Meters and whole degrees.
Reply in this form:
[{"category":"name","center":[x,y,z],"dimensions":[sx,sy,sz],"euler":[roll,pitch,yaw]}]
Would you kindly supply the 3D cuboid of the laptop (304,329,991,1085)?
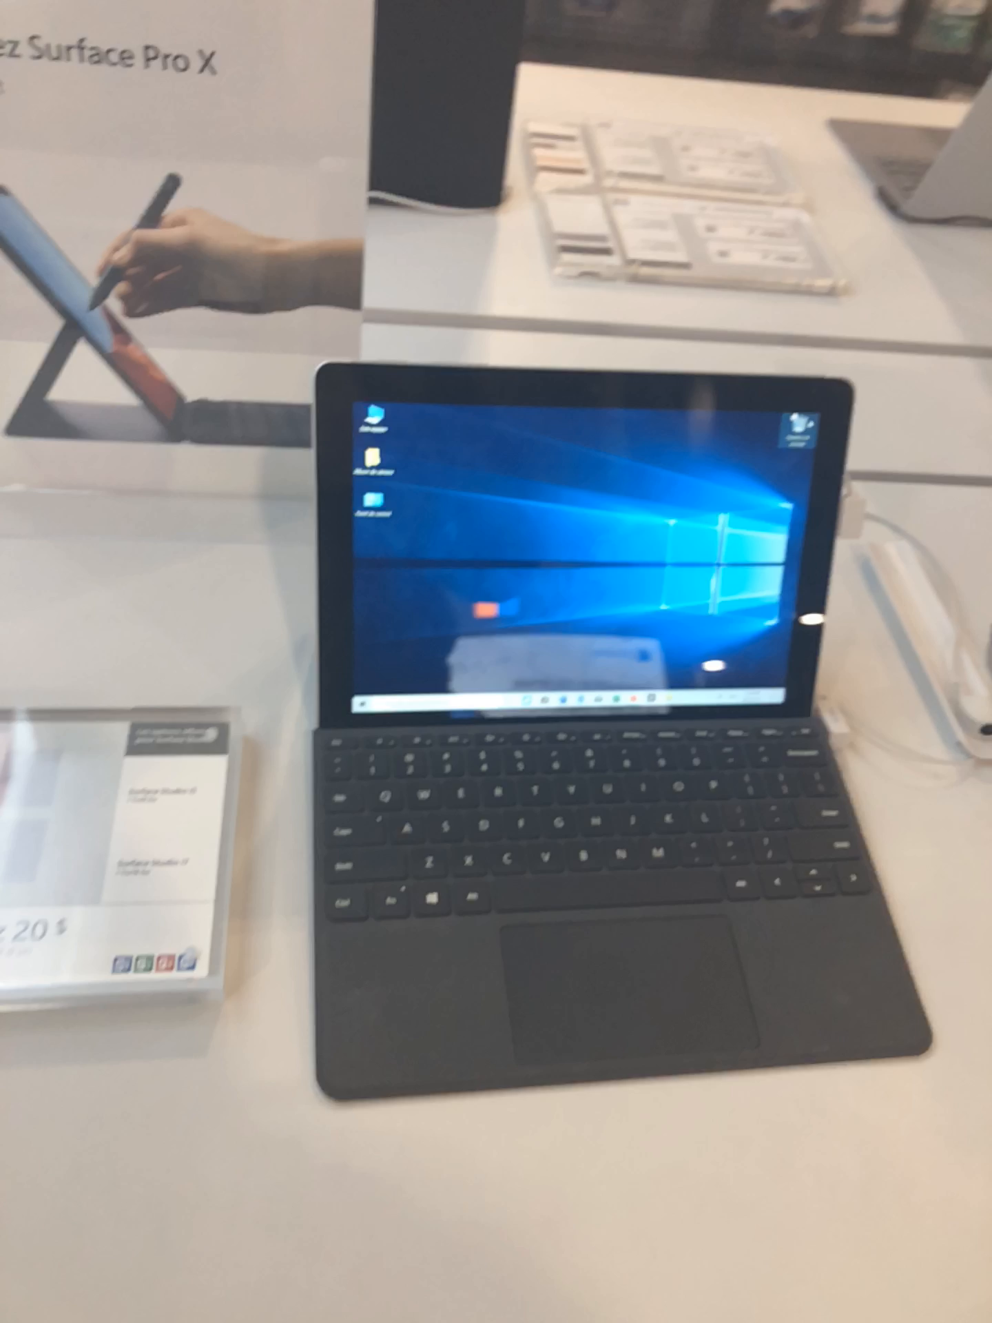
[{"category":"laptop","center":[0.047,0.008,0.450],"dimensions":[0.236,0.140,0.251],"euler":[-1,50,-12]}]
